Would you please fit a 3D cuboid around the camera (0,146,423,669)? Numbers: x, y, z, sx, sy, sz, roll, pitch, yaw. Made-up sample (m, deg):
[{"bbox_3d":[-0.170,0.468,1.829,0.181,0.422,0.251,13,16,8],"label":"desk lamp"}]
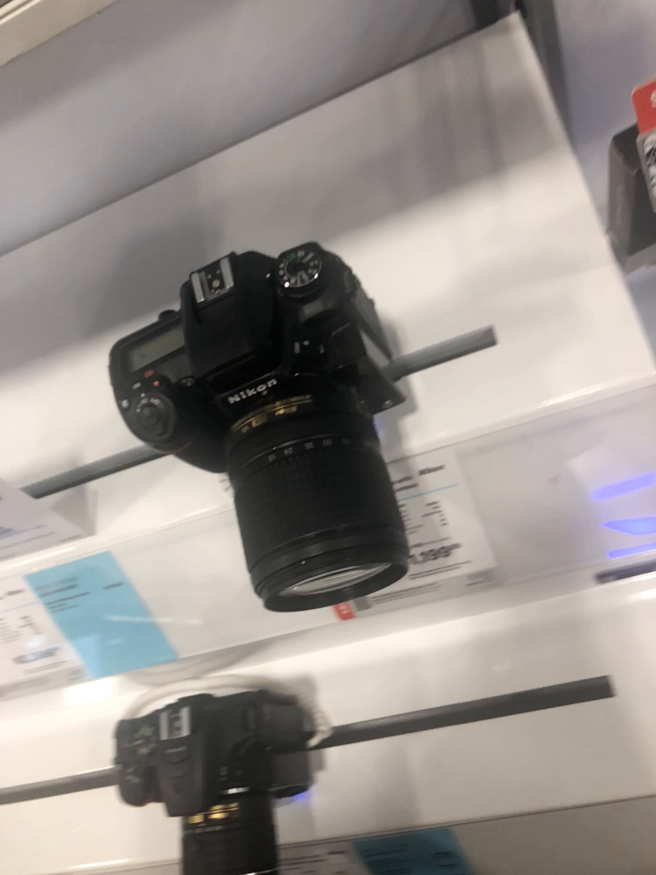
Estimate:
[{"bbox_3d":[-0.065,-0.005,0.367,0.150,0.120,0.190,-22,62,15],"label":"camera"}]
